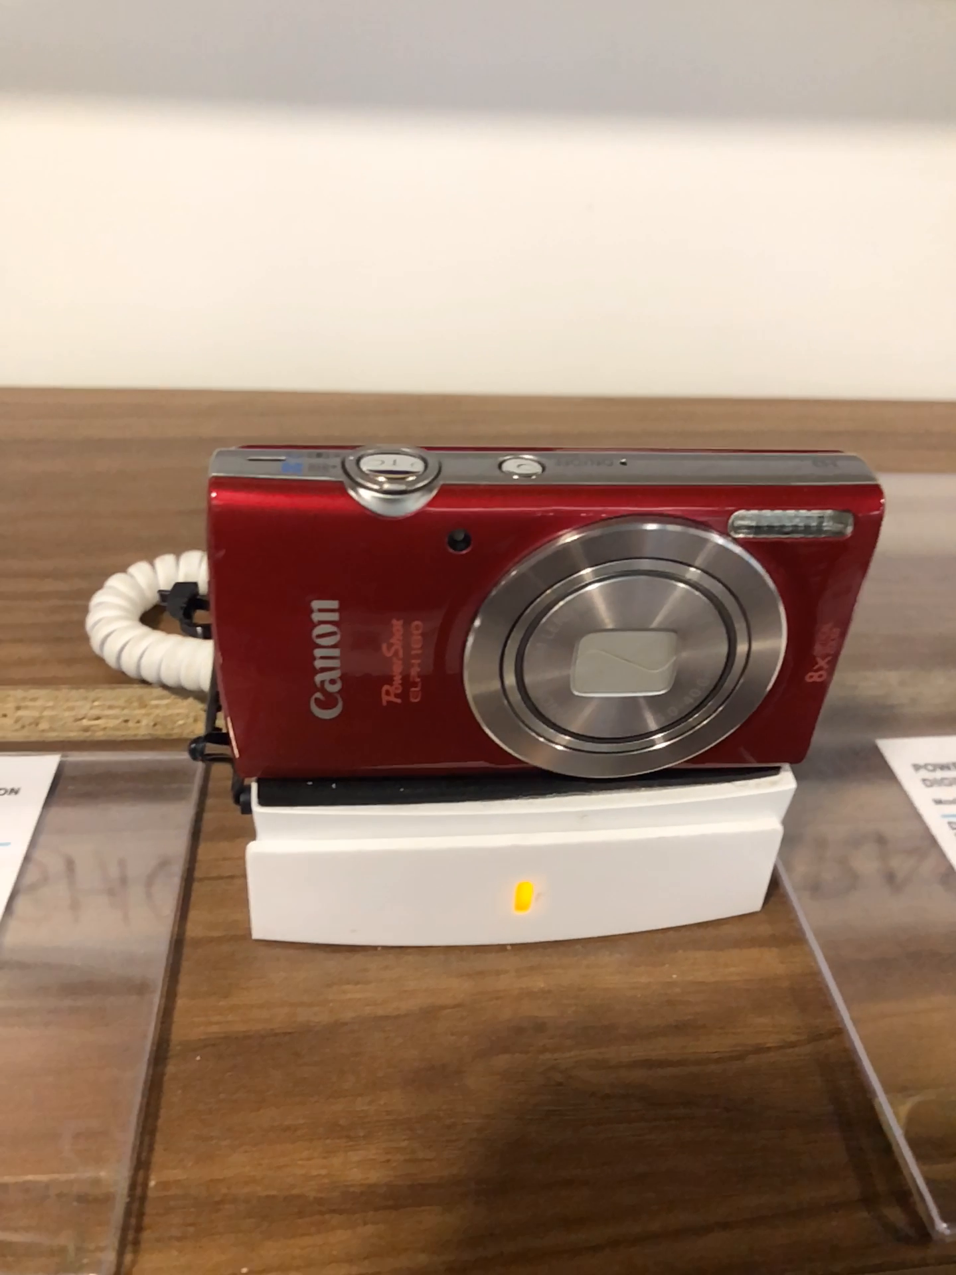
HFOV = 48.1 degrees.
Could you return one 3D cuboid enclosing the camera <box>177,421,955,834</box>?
[{"bbox_3d":[0.012,-0.002,0.156,0.100,0.050,0.030,0,34,-6],"label":"camera"}]
